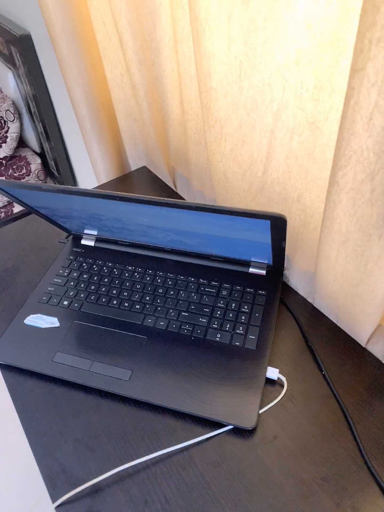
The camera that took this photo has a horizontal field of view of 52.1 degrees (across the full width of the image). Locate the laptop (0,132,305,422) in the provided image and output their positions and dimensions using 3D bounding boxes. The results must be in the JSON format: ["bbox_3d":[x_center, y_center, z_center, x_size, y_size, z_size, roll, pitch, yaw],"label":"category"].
[{"bbox_3d":[-0.067,0.006,0.512,0.362,0.201,0.239,10,49,17],"label":"laptop"}]
